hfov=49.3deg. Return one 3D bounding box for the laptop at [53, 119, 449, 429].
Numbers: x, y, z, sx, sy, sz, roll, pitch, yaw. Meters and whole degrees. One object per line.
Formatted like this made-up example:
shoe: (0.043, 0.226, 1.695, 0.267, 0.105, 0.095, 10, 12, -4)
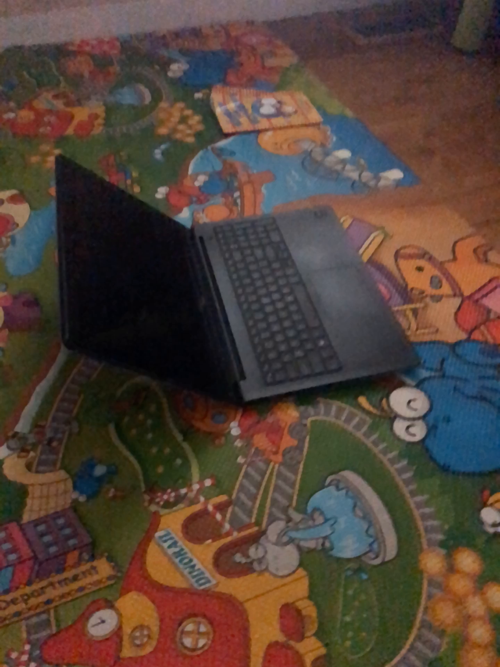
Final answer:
laptop: (-0.027, -0.110, 0.751, 0.428, 0.158, 0.363, -10, 50, -10)
